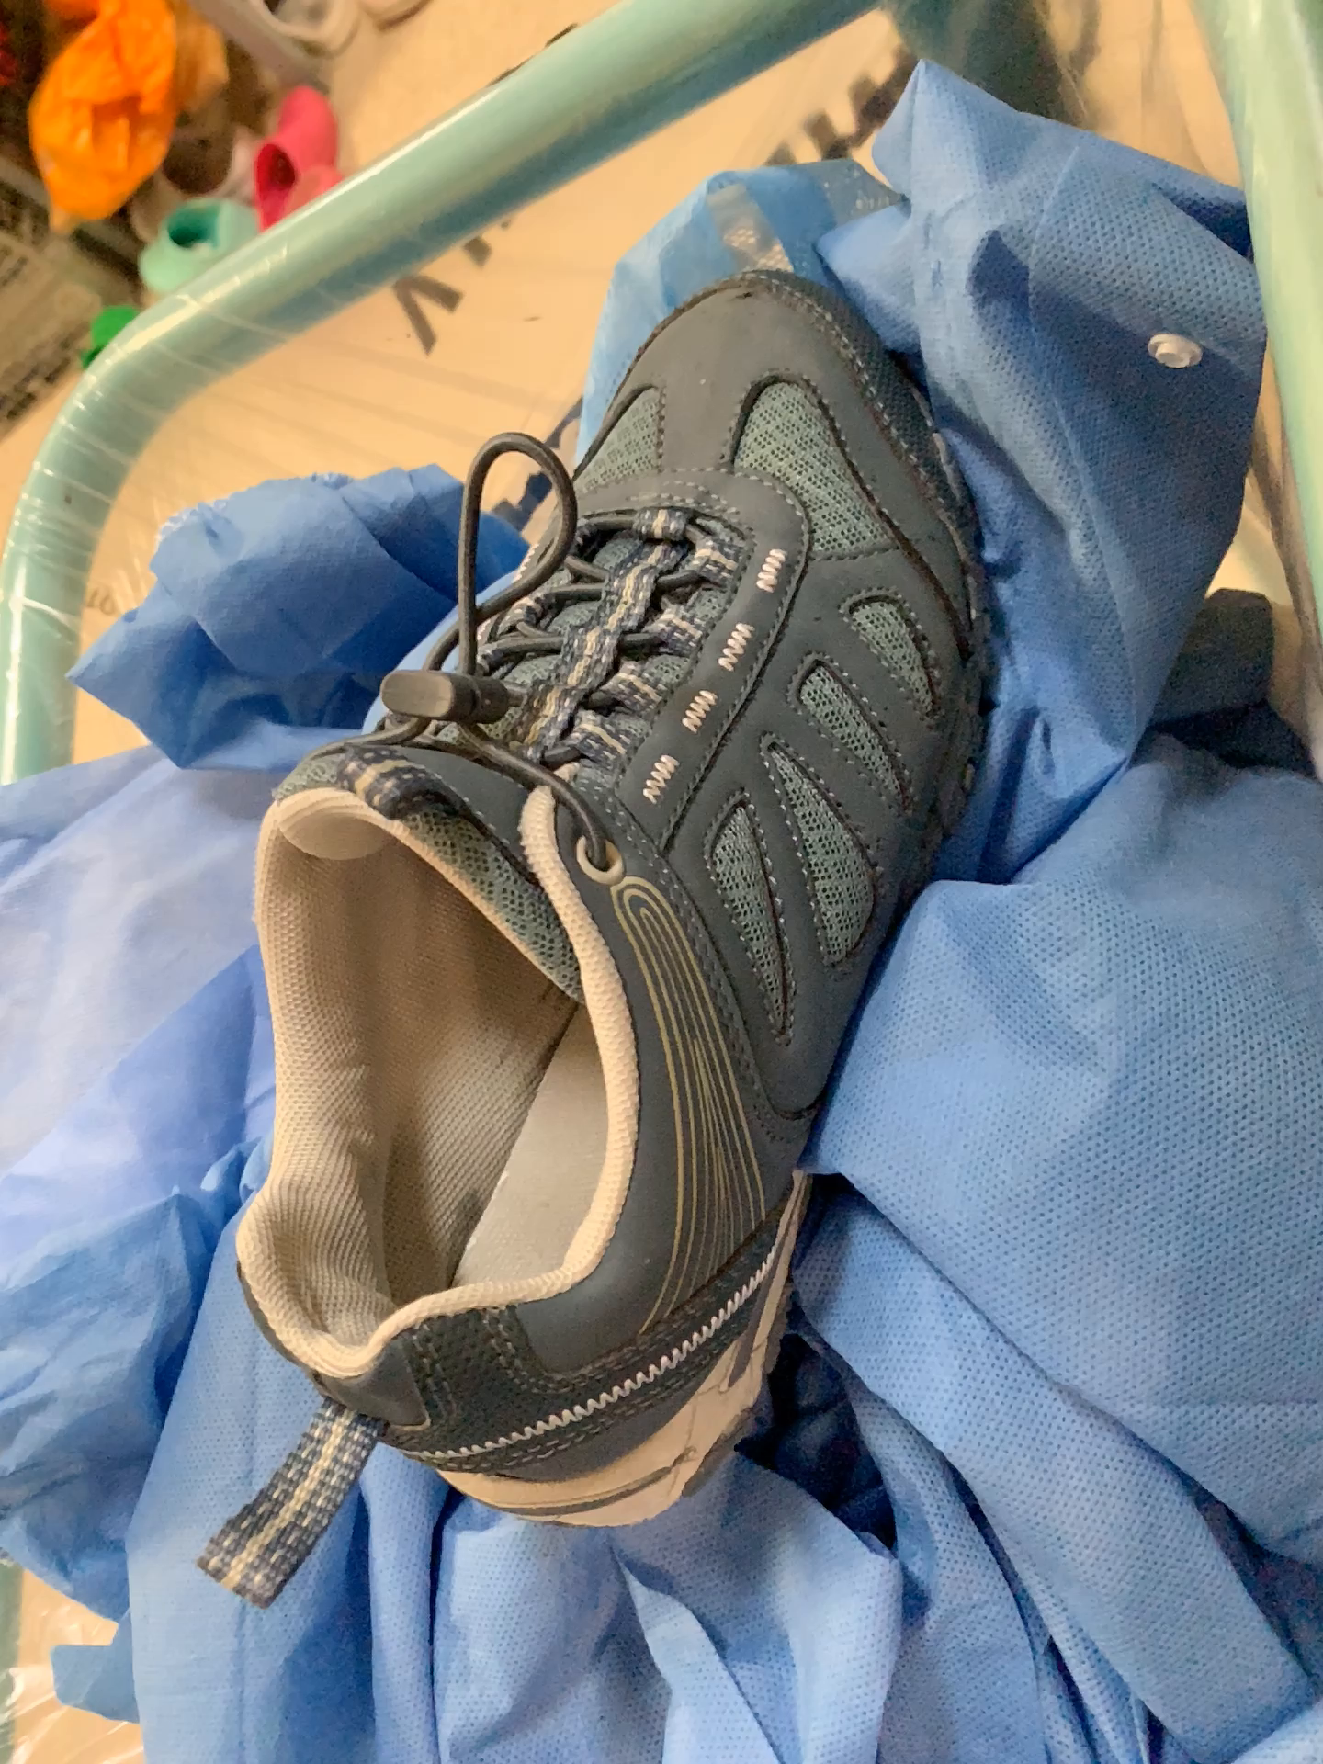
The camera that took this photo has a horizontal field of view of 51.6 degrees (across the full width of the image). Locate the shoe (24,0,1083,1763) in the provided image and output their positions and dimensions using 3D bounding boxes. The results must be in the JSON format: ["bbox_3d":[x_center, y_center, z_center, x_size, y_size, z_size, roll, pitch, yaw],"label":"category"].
[{"bbox_3d":[-0.010,-0.010,0.244,0.102,0.109,0.240,6,83,36],"label":"shoe"}]
